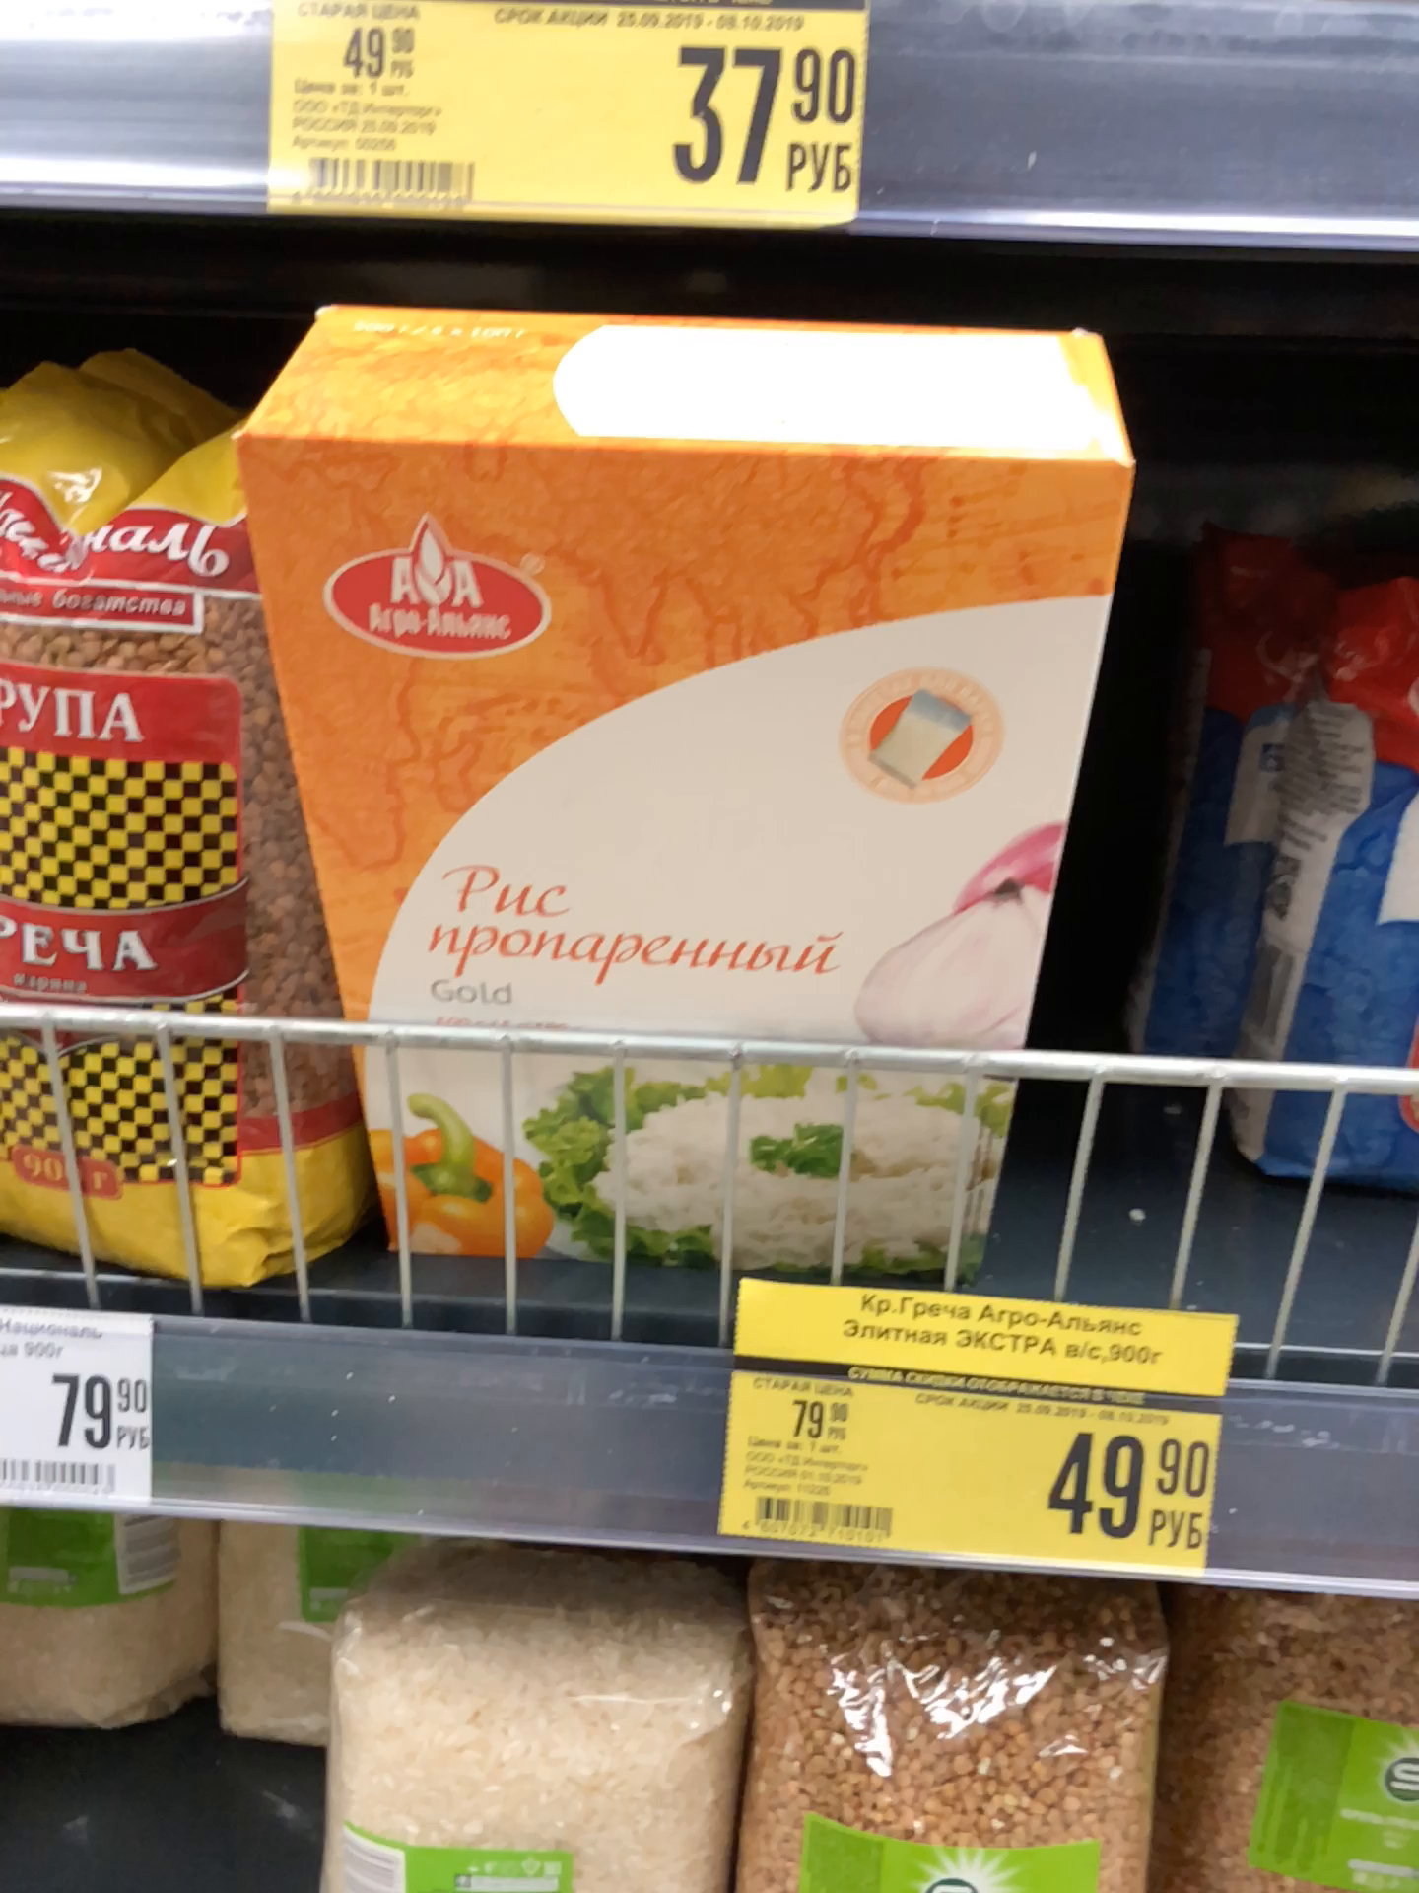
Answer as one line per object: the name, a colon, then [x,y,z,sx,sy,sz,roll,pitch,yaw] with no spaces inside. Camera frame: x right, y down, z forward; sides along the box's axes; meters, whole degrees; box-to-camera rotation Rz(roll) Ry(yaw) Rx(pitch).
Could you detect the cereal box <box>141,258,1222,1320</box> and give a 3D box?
cereal box: [-0.004,-0.016,0.289,0.140,0.188,0.060,2,42,1]
